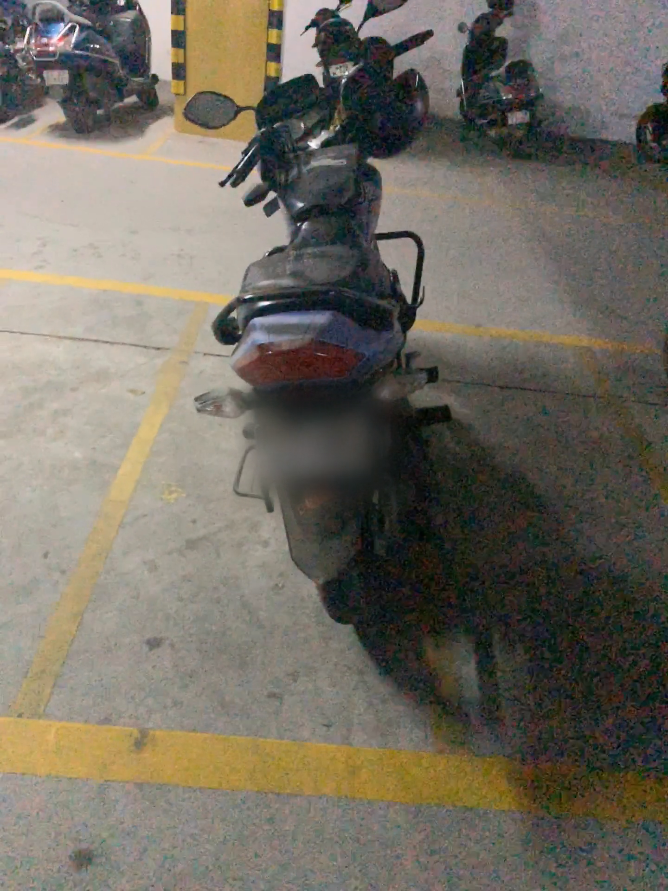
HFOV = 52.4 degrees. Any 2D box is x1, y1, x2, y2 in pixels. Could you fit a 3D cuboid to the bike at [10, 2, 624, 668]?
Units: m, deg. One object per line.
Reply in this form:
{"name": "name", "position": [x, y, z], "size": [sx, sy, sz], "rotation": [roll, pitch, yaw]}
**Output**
{"name": "bike", "position": [-0.172, -0.485, 1.871], "size": [0.780, 1.107, 1.710], "rotation": [3, 34, -8]}
